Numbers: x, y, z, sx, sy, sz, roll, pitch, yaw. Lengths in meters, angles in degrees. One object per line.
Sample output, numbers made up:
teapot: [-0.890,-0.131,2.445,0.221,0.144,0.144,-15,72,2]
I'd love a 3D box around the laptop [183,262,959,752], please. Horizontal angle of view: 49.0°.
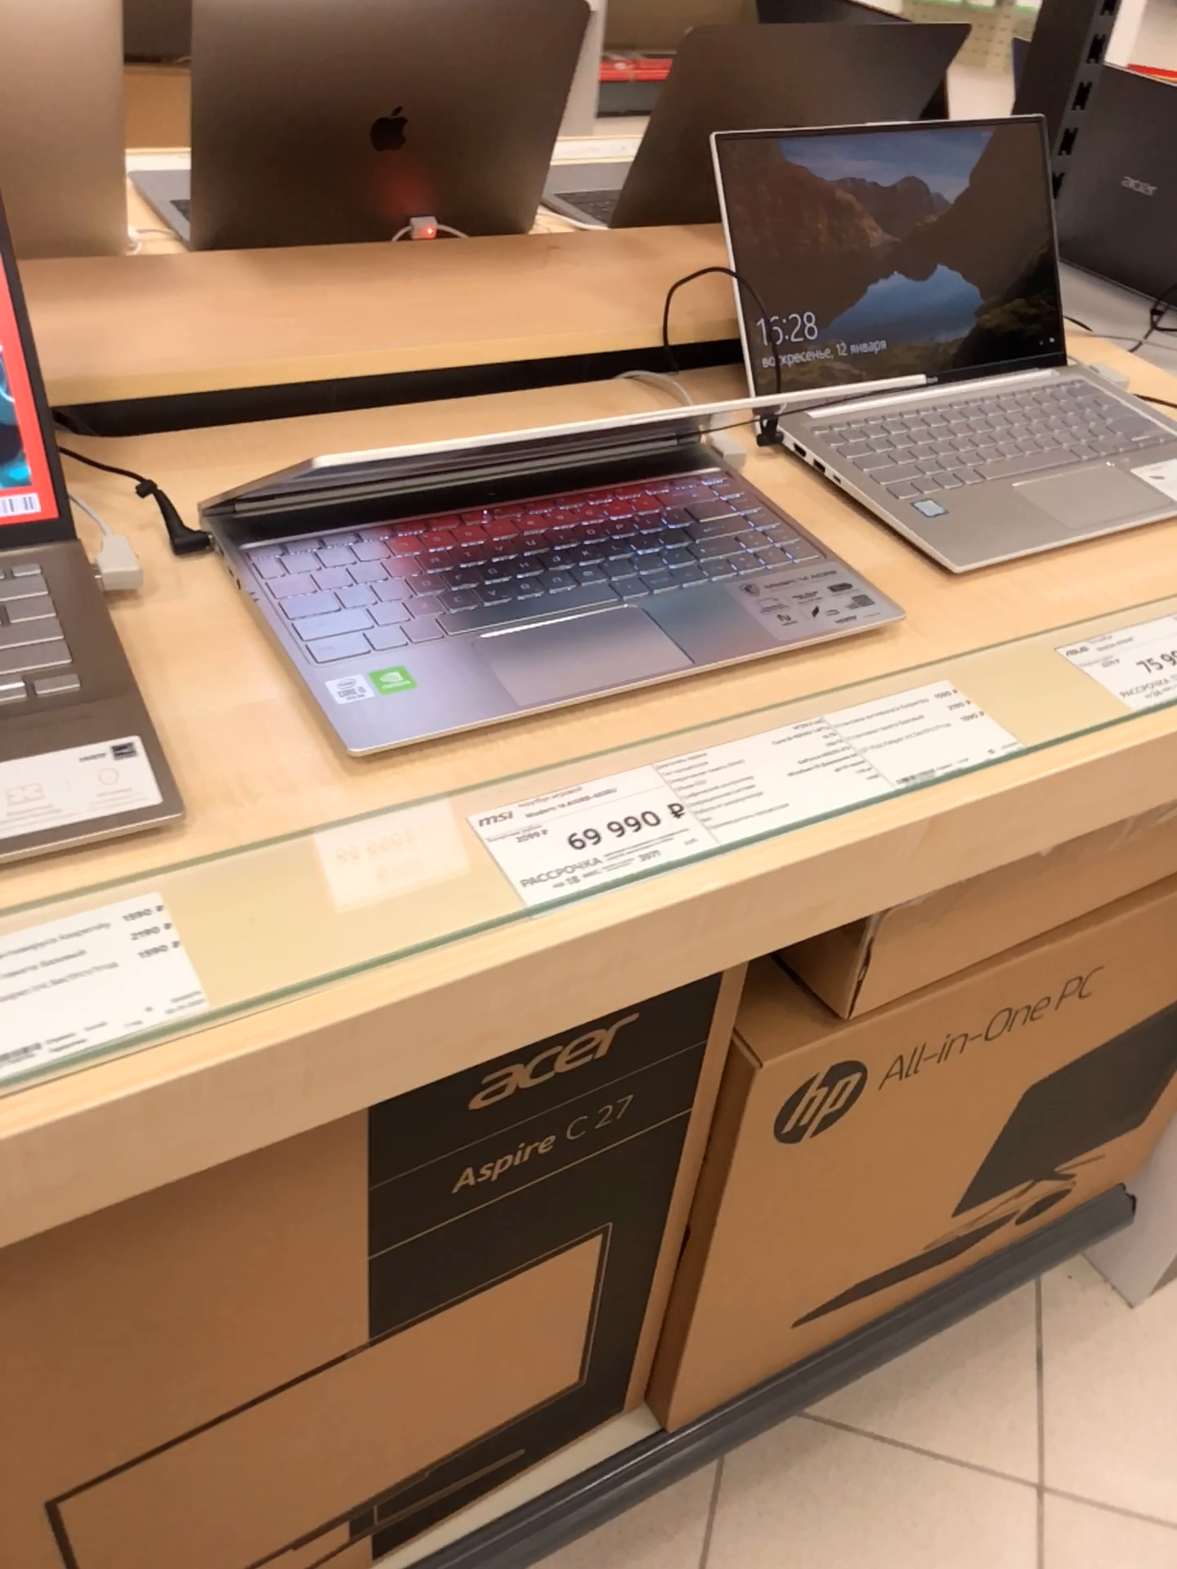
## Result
laptop: [-0.014,-0.164,0.672,0.321,0.112,0.216,-16,46,-26]

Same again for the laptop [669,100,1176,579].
laptop: [0.283,-0.323,0.878,0.326,0.154,0.301,-17,49,-27]

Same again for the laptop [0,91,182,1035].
laptop: [-0.366,-0.124,0.496,0.310,0.169,0.315,-15,46,-26]
